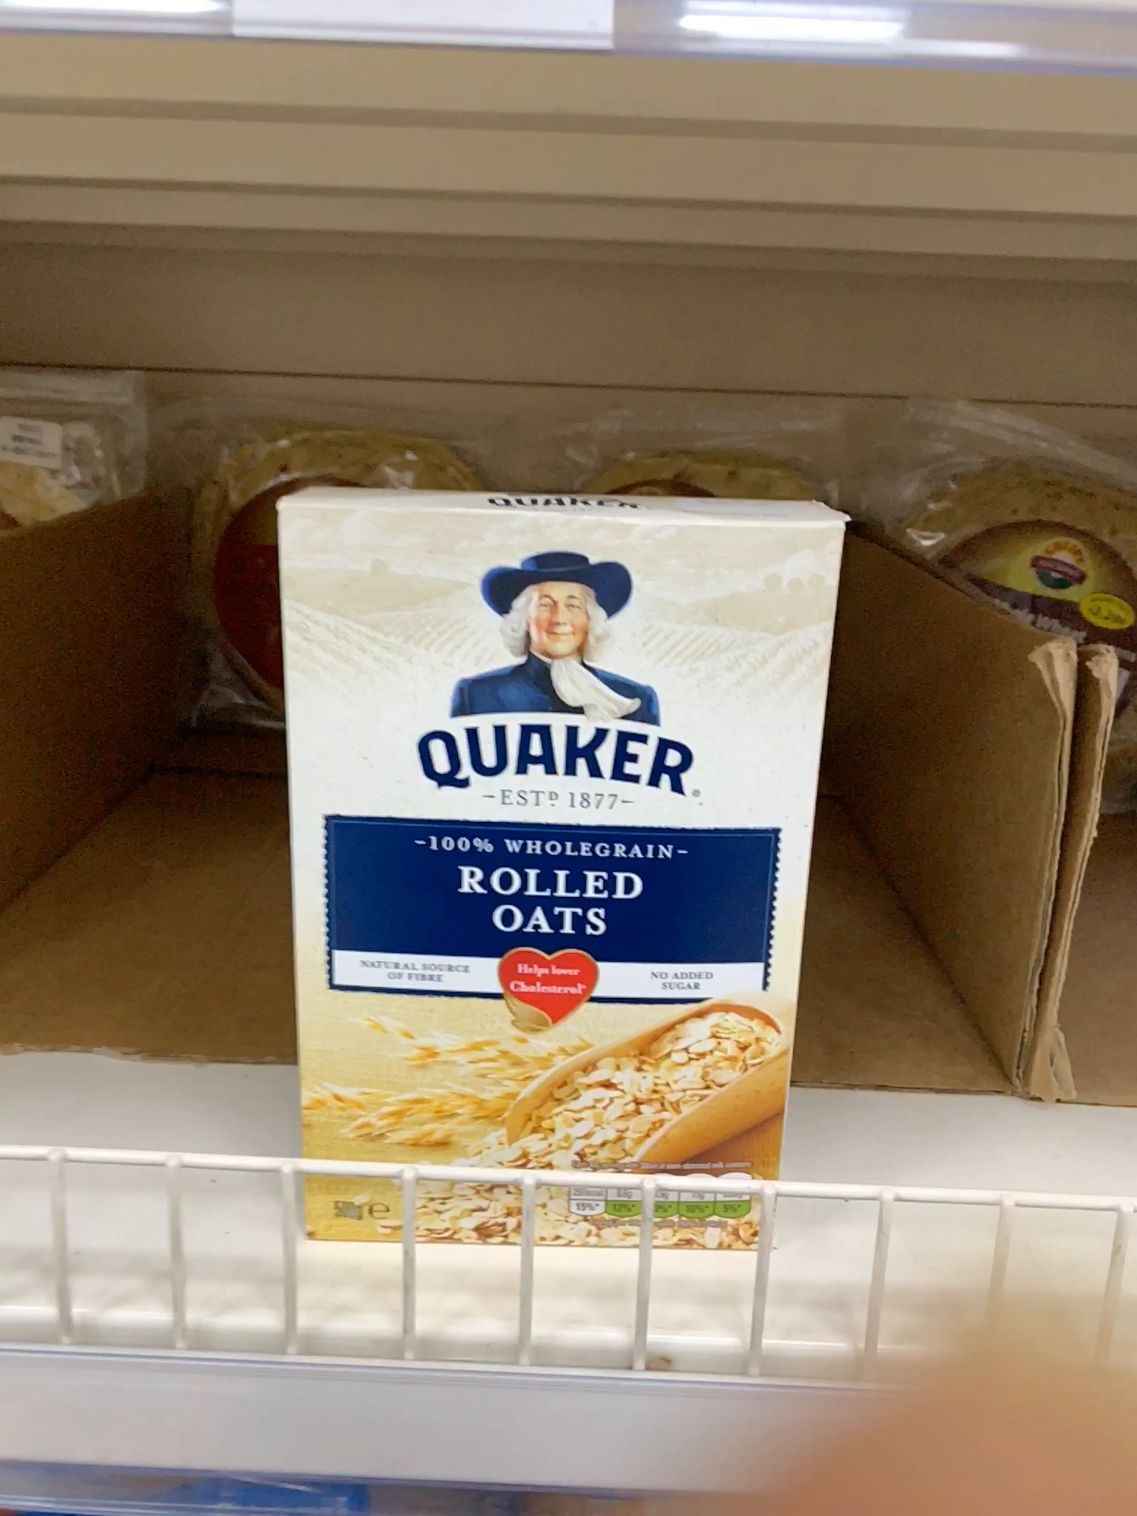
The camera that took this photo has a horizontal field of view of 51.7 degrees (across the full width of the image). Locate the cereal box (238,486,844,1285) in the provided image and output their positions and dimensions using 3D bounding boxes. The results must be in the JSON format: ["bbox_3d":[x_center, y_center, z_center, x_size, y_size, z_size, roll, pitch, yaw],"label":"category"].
[{"bbox_3d":[-0.010,0.041,0.347,0.150,0.229,0.050,2,17,-1],"label":"cereal box"}]
